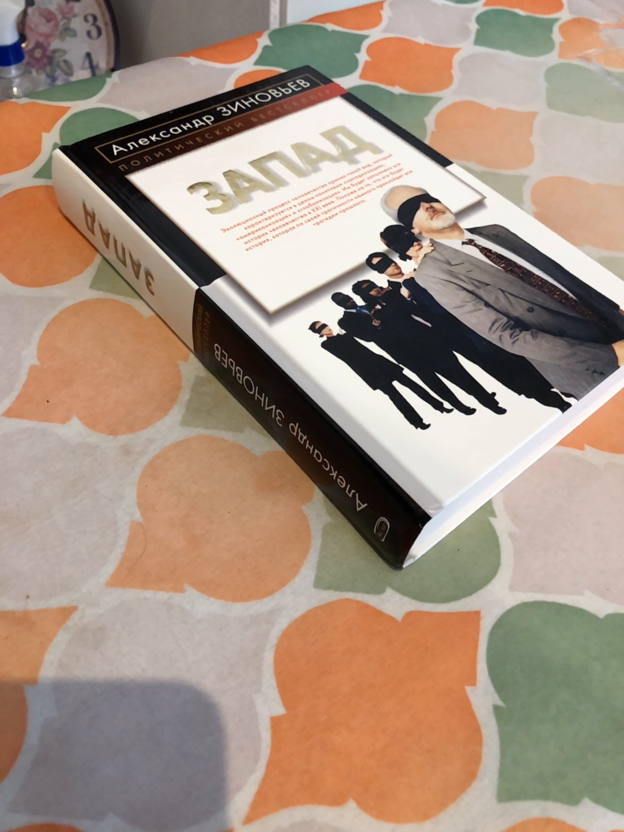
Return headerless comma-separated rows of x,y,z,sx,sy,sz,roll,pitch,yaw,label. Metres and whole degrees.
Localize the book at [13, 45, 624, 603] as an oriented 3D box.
0.007,-0.060,0.269,0.140,0.040,0.221,-32,62,-26,book
